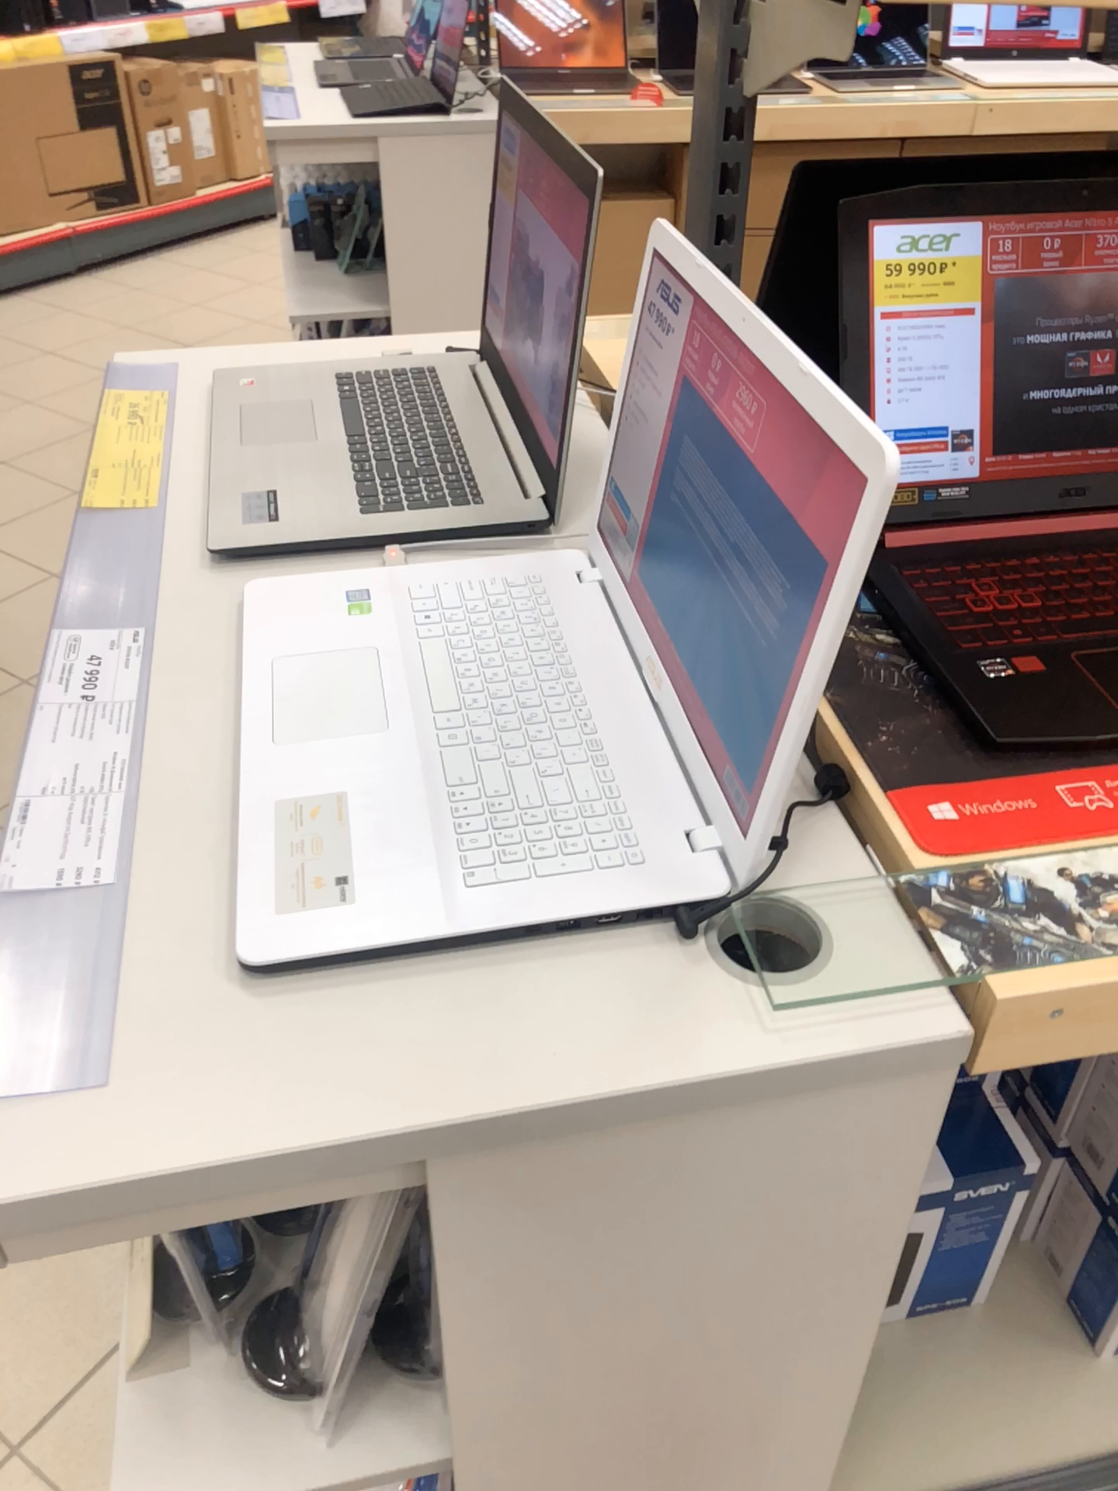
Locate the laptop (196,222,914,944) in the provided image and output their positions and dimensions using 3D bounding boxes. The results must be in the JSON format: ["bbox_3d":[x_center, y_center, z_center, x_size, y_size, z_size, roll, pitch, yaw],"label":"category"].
[{"bbox_3d":[-0.026,-0.128,0.727,0.300,0.235,0.388,-6,36,-7],"label":"laptop"}]
